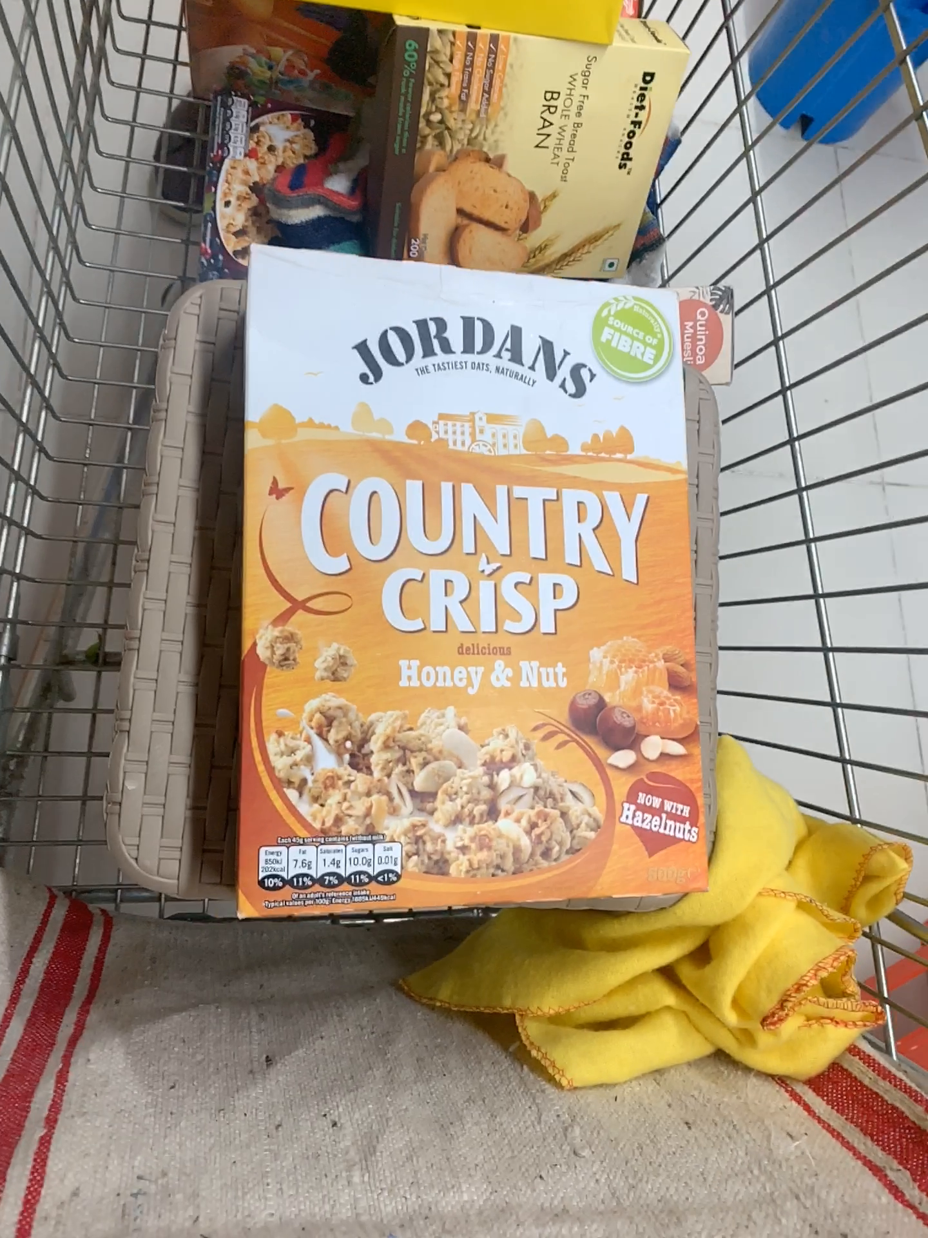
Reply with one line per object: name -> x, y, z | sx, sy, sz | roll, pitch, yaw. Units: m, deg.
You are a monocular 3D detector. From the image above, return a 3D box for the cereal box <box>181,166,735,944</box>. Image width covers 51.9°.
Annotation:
cereal box -> -0.007, -0.020, 0.374 | 0.190, 0.080, 0.260 | 2, 81, -15
